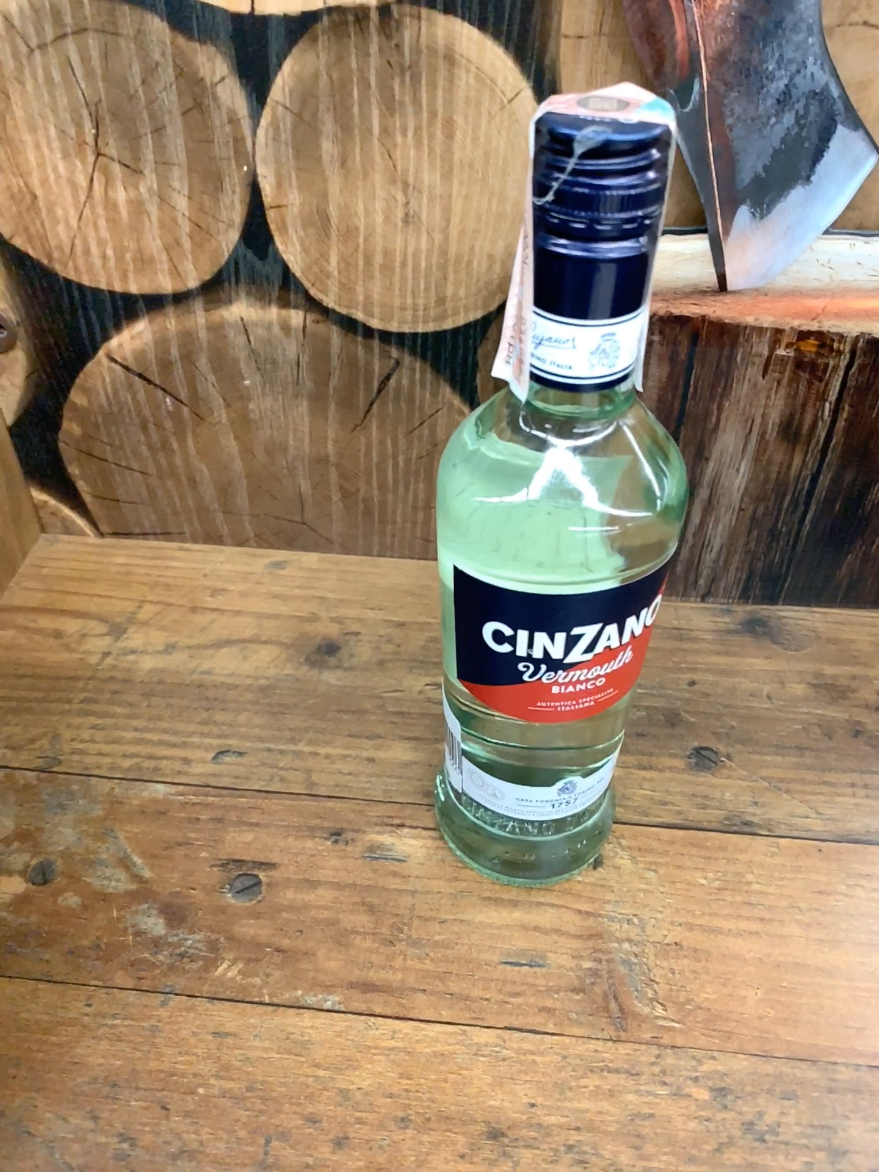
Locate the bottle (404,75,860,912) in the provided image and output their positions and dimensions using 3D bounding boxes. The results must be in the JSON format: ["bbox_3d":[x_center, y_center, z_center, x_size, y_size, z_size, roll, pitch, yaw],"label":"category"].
[{"bbox_3d":[0.031,-0.004,0.255,0.070,0.231,0.070,1,42,-1],"label":"bottle"}]
